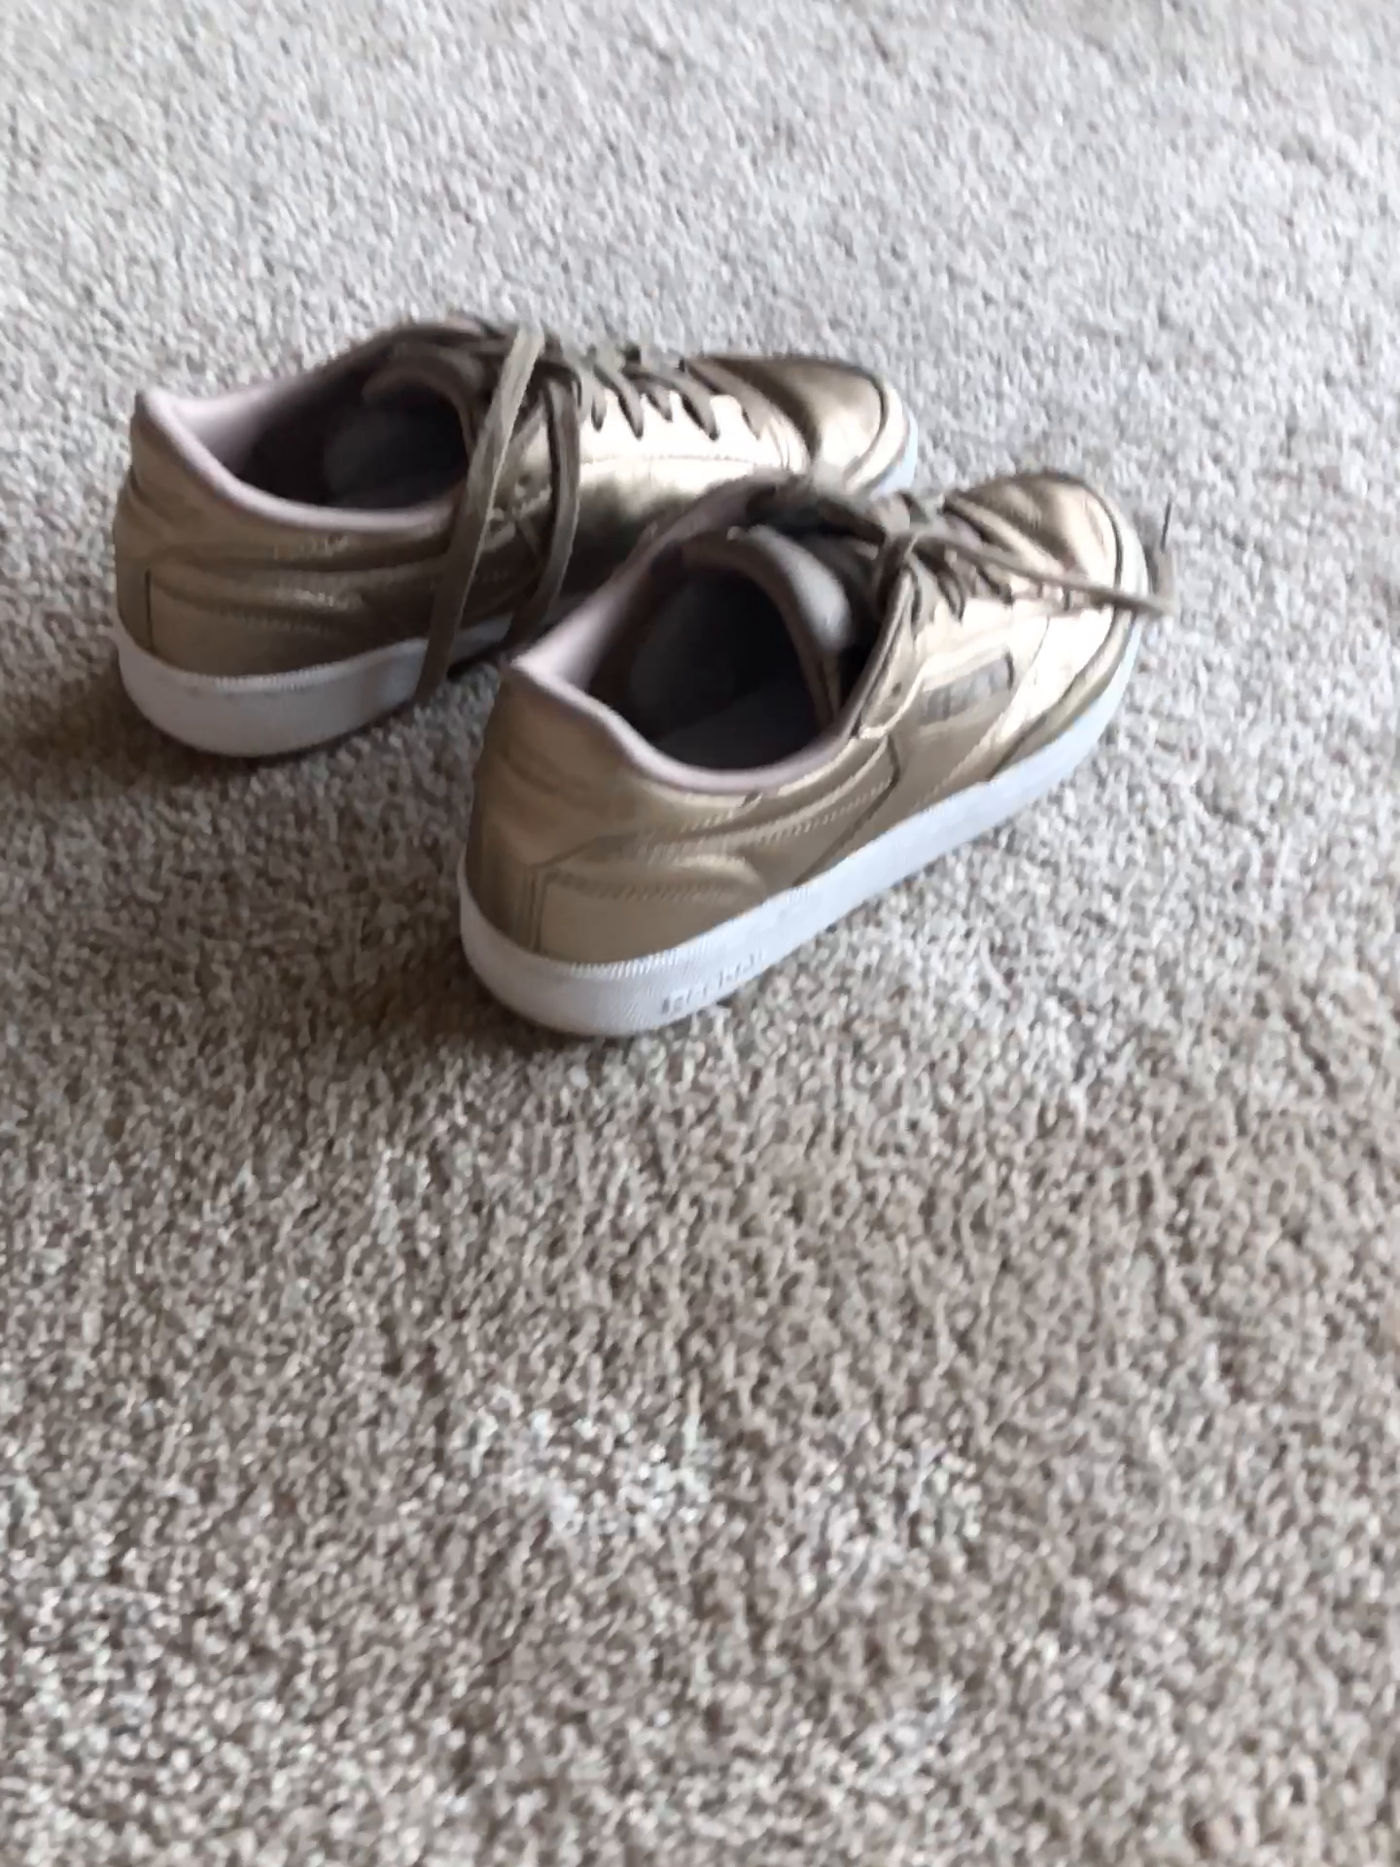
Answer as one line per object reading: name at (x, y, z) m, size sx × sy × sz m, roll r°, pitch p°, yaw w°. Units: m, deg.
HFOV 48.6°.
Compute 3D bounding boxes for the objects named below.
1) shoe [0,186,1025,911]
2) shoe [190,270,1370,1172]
shoe at (-0.056, -0.122, 0.436) m, size 0.281 × 0.070 × 0.110 m, roll -27°, pitch 61°, yaw -25°
shoe at (0.031, -0.071, 0.392) m, size 0.281 × 0.070 × 0.110 m, roll -32°, pitch 63°, yaw -28°
